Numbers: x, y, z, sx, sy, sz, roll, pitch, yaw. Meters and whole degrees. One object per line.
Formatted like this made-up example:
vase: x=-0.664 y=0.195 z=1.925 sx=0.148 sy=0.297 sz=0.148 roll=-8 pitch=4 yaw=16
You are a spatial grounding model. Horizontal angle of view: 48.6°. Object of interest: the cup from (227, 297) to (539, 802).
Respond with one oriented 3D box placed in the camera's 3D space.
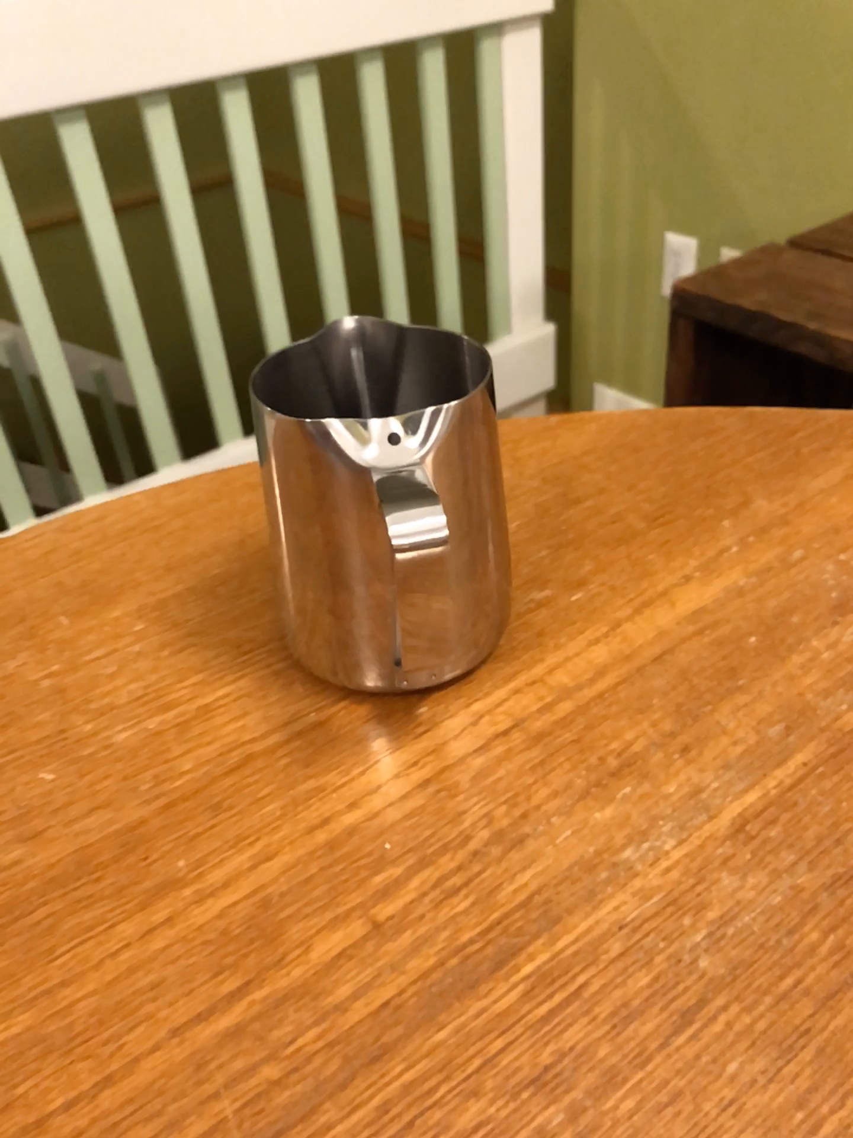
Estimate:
cup: x=-0.015 y=-0.013 z=0.339 sx=0.082 sy=0.114 sz=0.136 roll=-8 pitch=36 yaw=-3
